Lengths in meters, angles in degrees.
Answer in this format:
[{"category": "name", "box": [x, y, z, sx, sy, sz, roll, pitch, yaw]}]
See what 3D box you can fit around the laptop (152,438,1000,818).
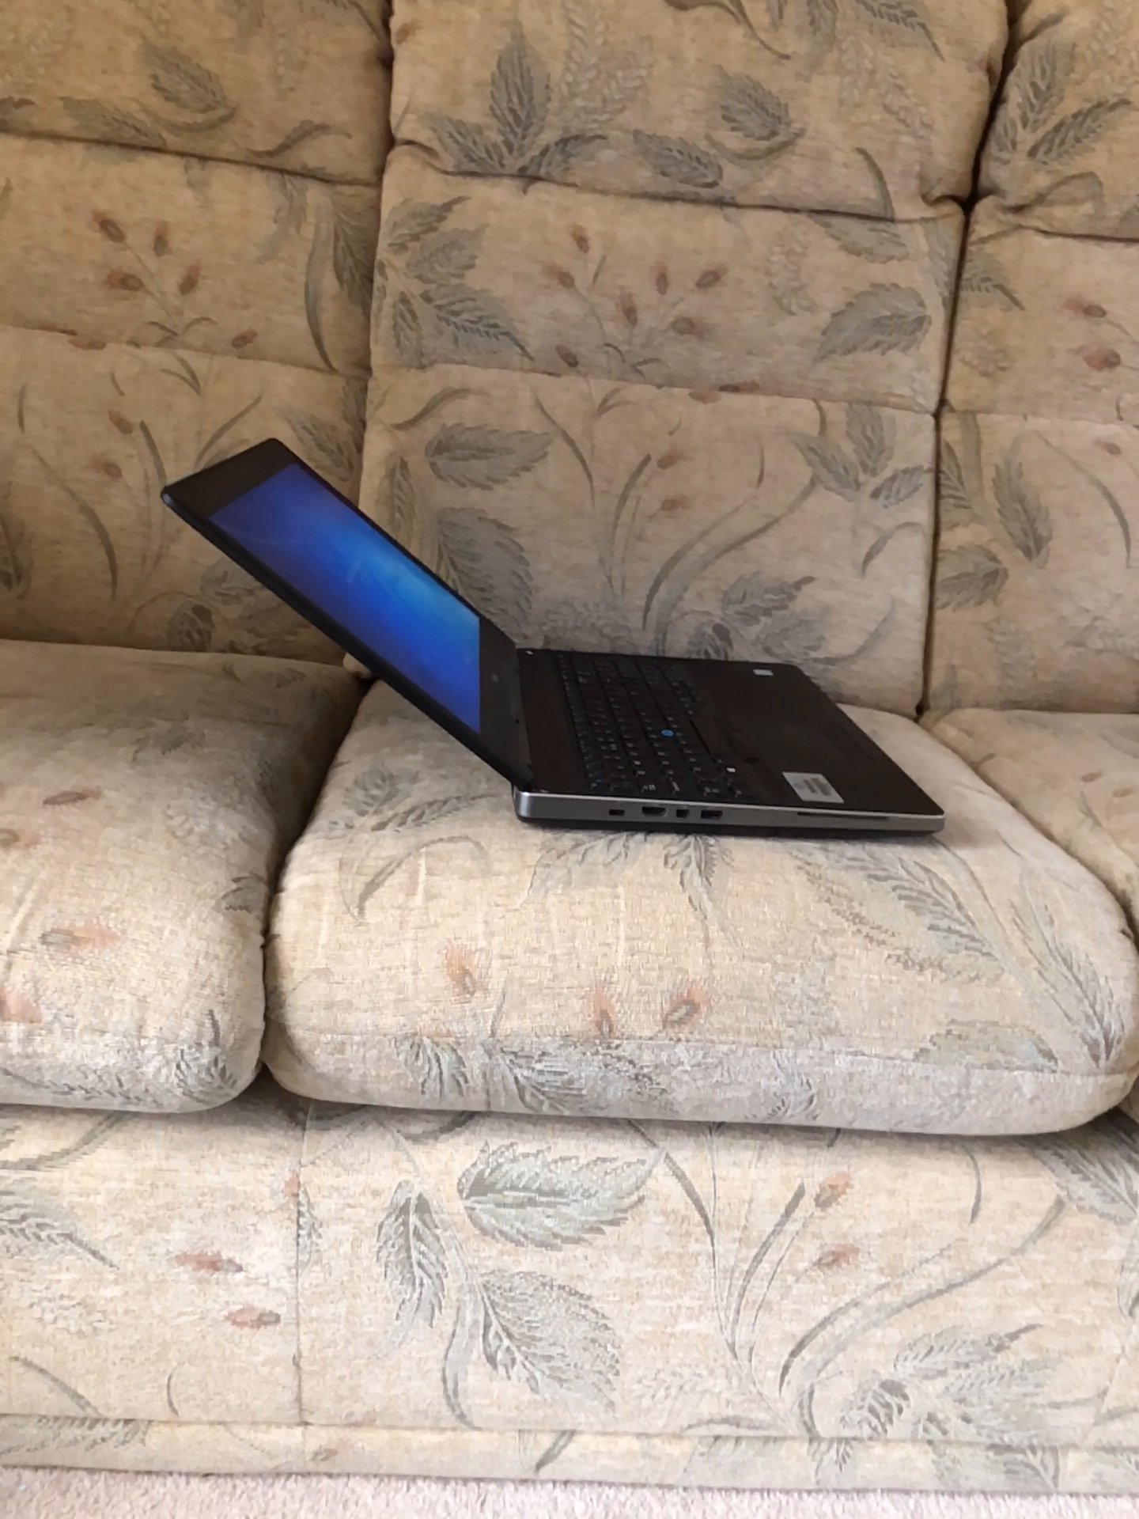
[{"category": "laptop", "box": [-0.009, -0.108, 0.867, 0.451, 0.157, 0.357, 3, 20, -5]}]
